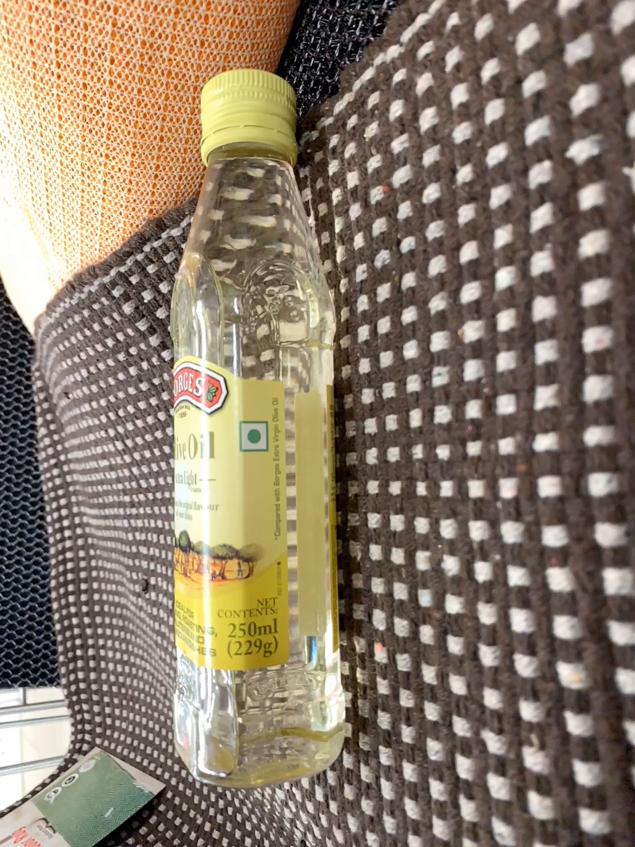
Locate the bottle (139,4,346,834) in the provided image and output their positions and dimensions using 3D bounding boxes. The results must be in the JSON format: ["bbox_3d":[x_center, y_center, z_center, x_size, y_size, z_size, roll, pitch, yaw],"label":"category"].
[{"bbox_3d":[-0.025,-0.001,0.195,0.060,0.040,0.200,0,91,62],"label":"bottle"}]
